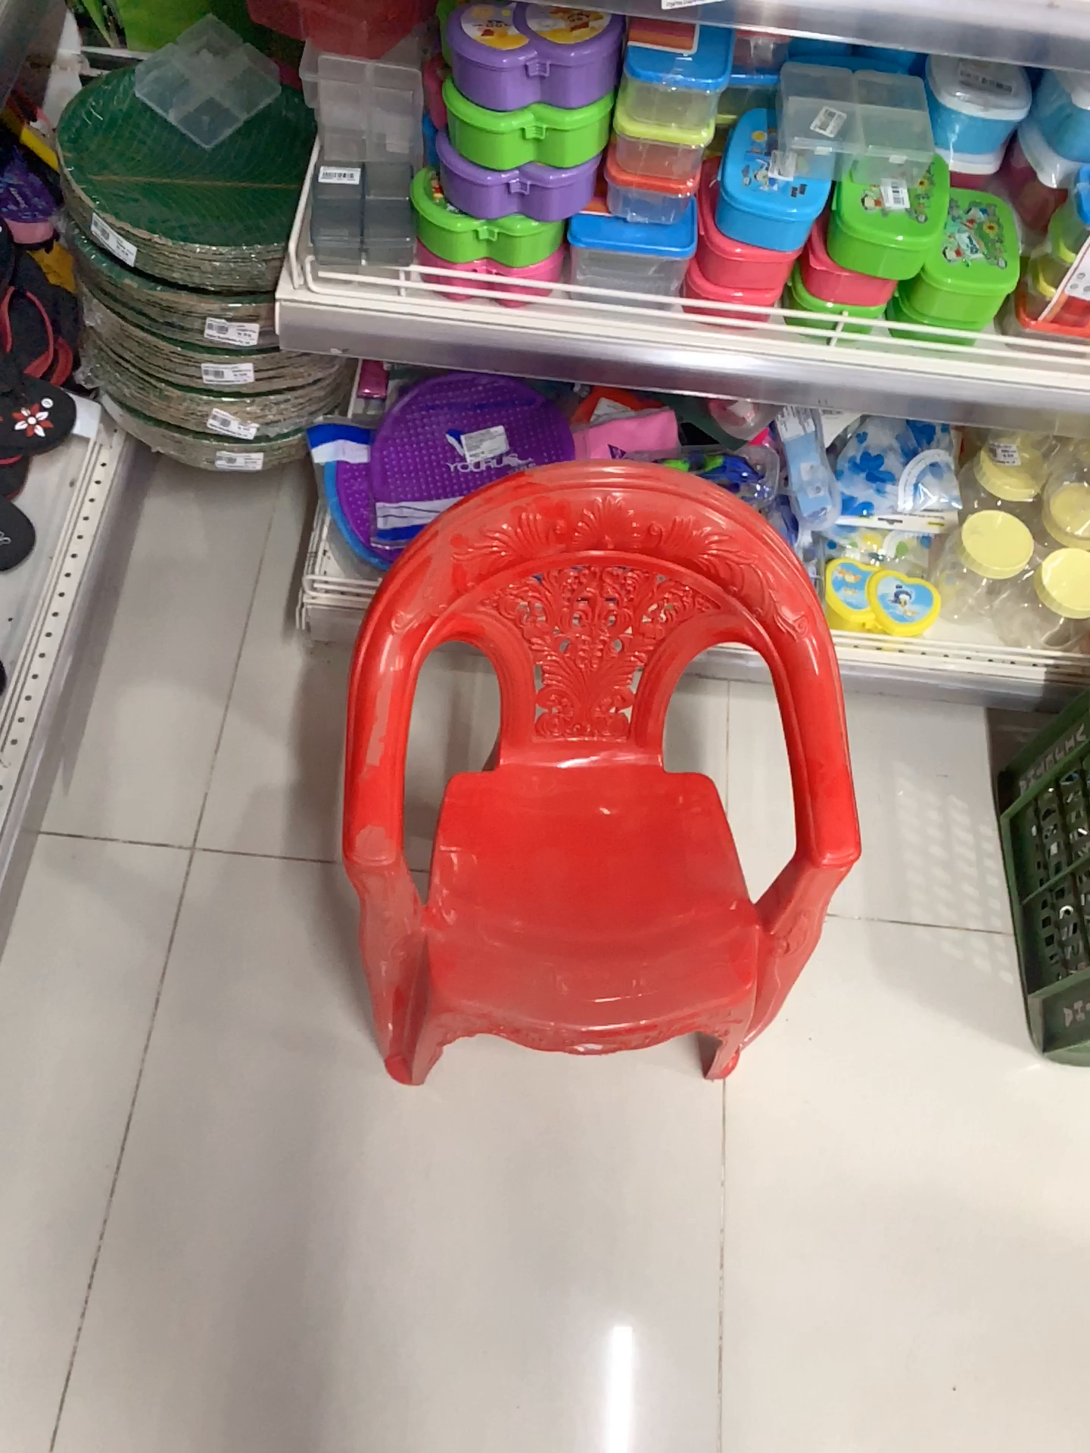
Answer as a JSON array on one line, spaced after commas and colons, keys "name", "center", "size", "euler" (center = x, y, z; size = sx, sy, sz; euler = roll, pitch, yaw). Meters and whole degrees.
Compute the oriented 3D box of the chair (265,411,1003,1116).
[{"name": "chair", "center": [0.037, 0.077, 0.930], "size": [0.410, 0.499, 0.410], "euler": [2, 64, -3]}]
